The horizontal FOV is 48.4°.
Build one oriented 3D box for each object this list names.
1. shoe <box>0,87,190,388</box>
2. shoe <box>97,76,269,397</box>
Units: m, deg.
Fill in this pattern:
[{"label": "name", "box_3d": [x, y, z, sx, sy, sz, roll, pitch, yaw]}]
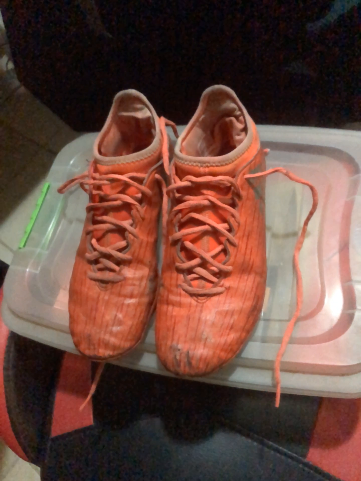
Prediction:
[{"label": "shoe", "box_3d": [-0.065, -0.002, 0.377, 0.090, 0.129, 0.241, 1, 64, 17]}, {"label": "shoe", "box_3d": [0.022, -0.003, 0.354, 0.090, 0.129, 0.241, 1, 64, 17]}]
